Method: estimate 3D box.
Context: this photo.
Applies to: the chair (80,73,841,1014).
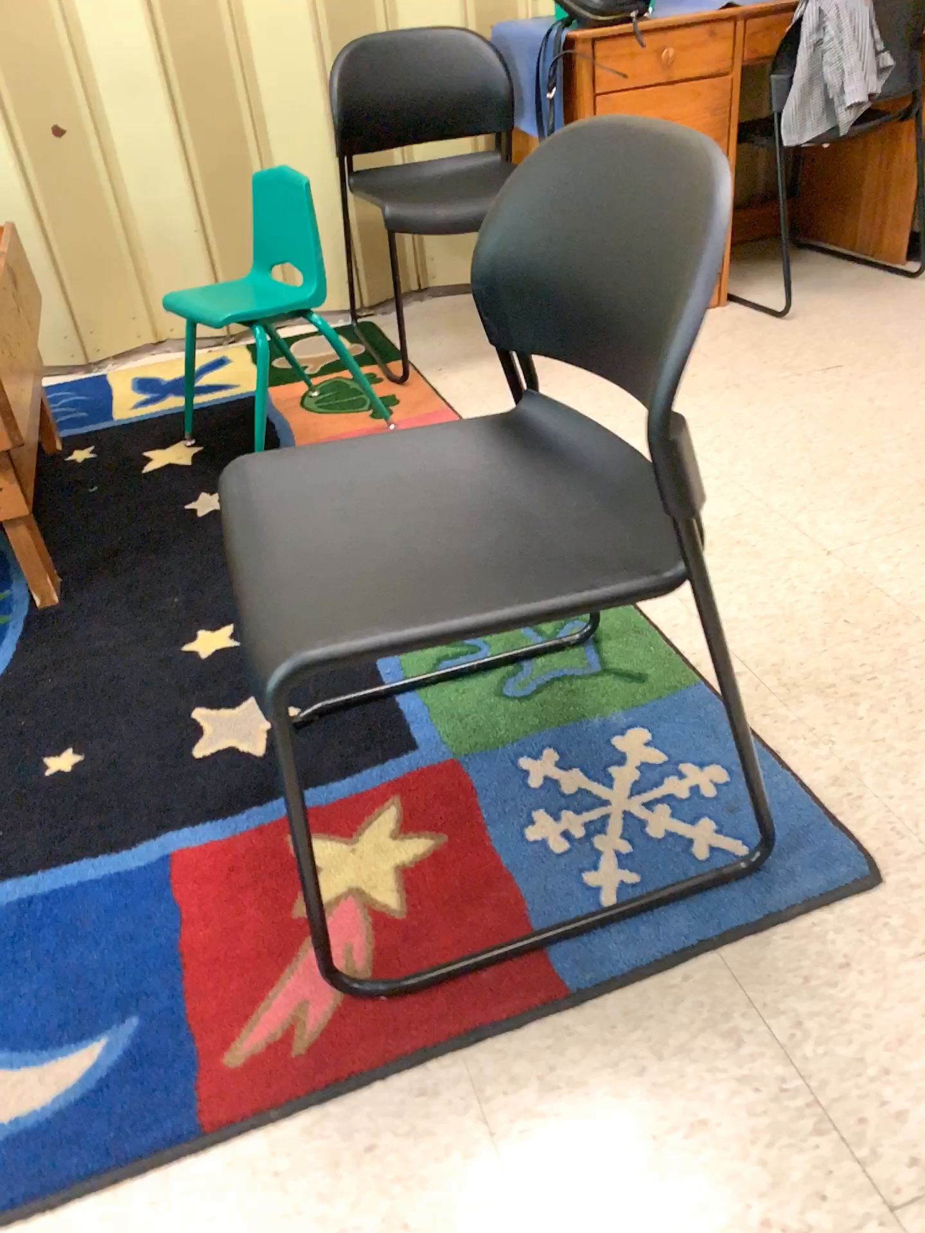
[{"bbox_3d":[-0.033,-0.116,1.070,0.530,0.785,0.574,-15,35,-13],"label":"chair"}]
